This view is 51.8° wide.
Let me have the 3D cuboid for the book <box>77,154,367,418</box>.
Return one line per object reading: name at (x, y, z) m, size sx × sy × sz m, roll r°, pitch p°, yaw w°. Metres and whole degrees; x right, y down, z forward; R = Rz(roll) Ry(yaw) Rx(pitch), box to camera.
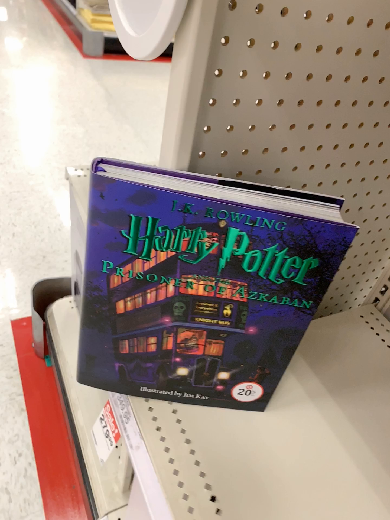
book at (0.003, 0.051, 0.429) m, size 0.240 × 0.280 × 0.050 m, roll 9°, pitch 35°, yaw -5°
